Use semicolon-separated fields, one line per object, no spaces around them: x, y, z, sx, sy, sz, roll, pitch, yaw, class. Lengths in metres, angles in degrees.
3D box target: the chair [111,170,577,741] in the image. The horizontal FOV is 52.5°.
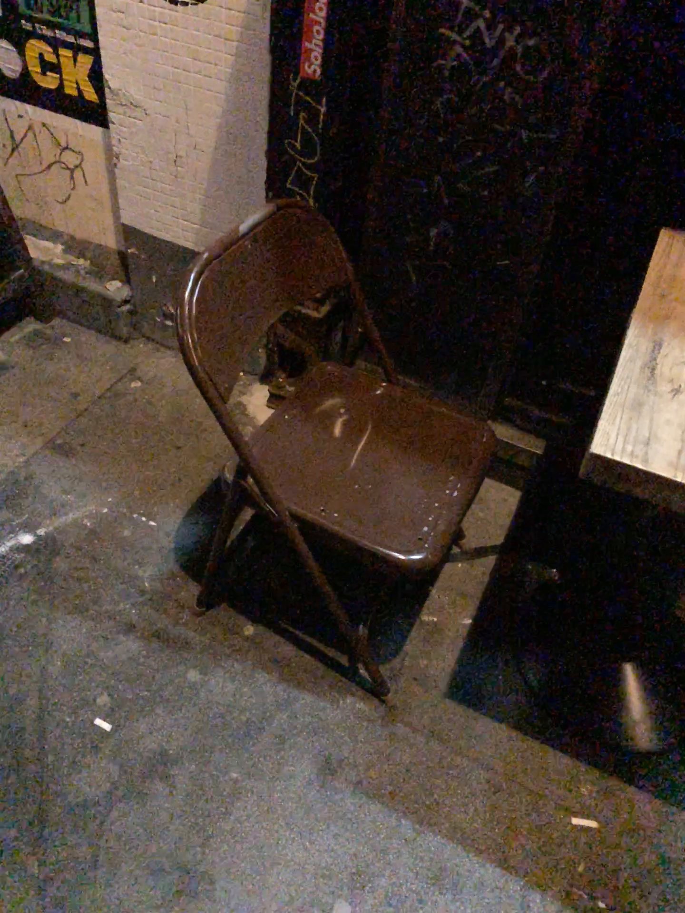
-0.003;0.001;1.211;0.481;0.723;0.494;24;45;16;chair
